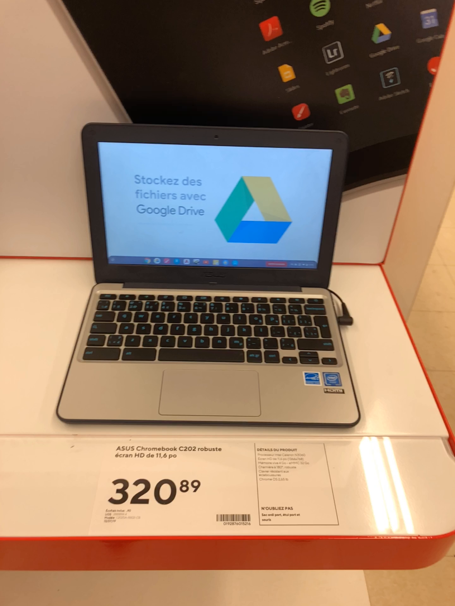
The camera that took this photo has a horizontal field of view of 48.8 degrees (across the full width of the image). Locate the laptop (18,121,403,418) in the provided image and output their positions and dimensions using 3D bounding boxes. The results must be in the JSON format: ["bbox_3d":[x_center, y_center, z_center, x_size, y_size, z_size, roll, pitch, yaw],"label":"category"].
[{"bbox_3d":[-0.013,-0.040,0.498,0.274,0.174,0.231,1,43,-2],"label":"laptop"}]
